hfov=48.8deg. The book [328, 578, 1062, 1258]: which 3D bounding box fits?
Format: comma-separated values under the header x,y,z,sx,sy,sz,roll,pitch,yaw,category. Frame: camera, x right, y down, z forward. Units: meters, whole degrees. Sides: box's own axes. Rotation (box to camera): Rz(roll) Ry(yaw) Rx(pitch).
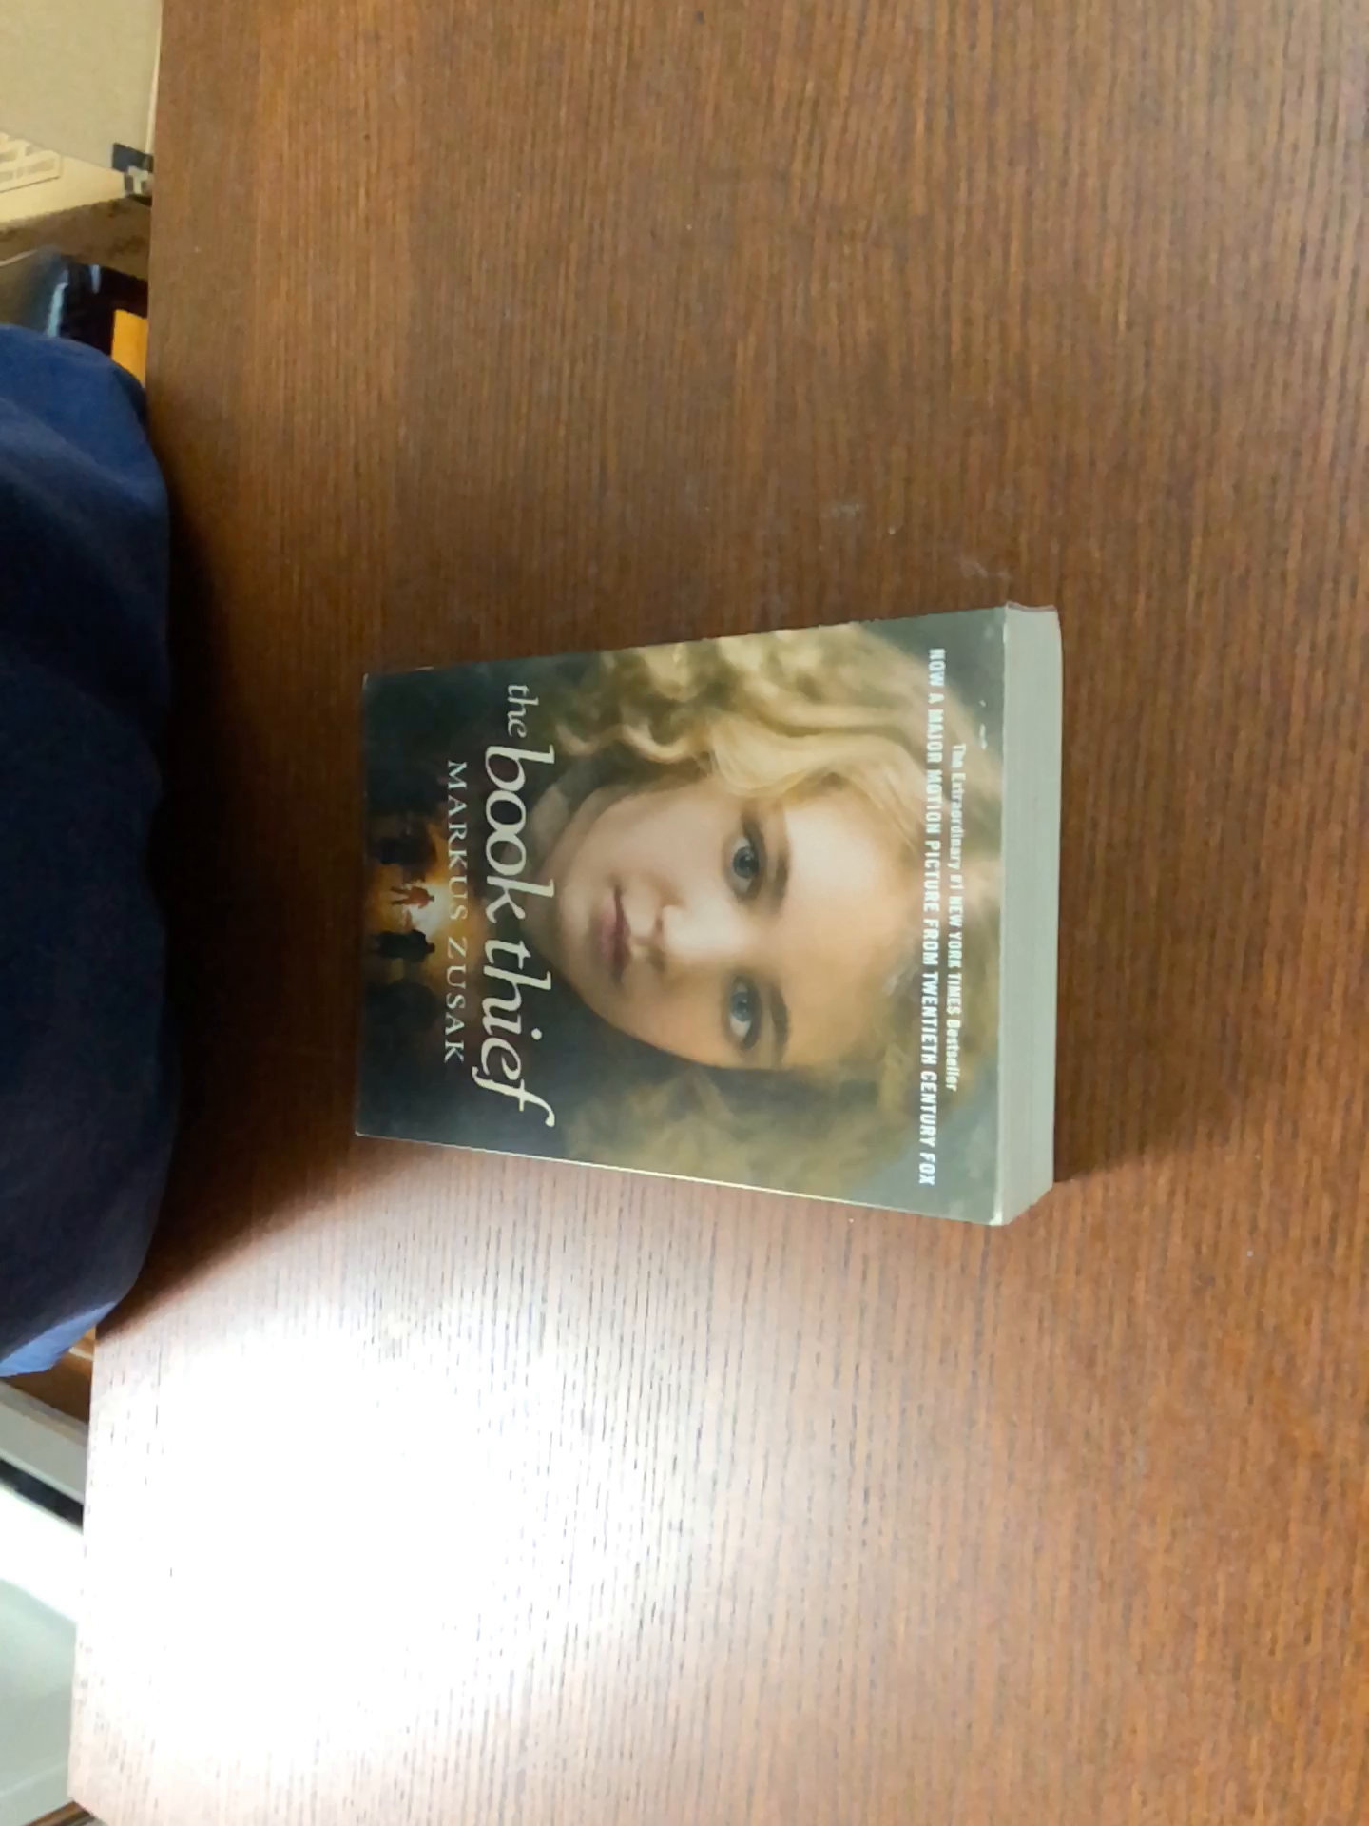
x,y,z,sx,sy,sz,roll,pitch,yaw,category
-0.010,-0.002,0.410,0.221,0.030,0.150,2,91,36,book
